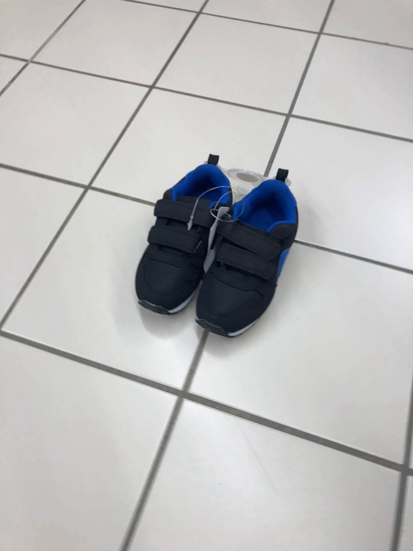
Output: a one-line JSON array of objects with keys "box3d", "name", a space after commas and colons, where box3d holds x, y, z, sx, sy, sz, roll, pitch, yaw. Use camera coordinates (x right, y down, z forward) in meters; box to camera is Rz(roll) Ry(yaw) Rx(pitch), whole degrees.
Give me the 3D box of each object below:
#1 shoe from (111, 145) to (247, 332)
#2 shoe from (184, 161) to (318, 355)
[{"box3d": [-0.021, -0.043, 0.474, 0.067, 0.073, 0.175, 19, 60, 12], "name": "shoe"}, {"box3d": [0.048, -0.022, 0.460, 0.067, 0.073, 0.175, 20, 61, 13], "name": "shoe"}]
